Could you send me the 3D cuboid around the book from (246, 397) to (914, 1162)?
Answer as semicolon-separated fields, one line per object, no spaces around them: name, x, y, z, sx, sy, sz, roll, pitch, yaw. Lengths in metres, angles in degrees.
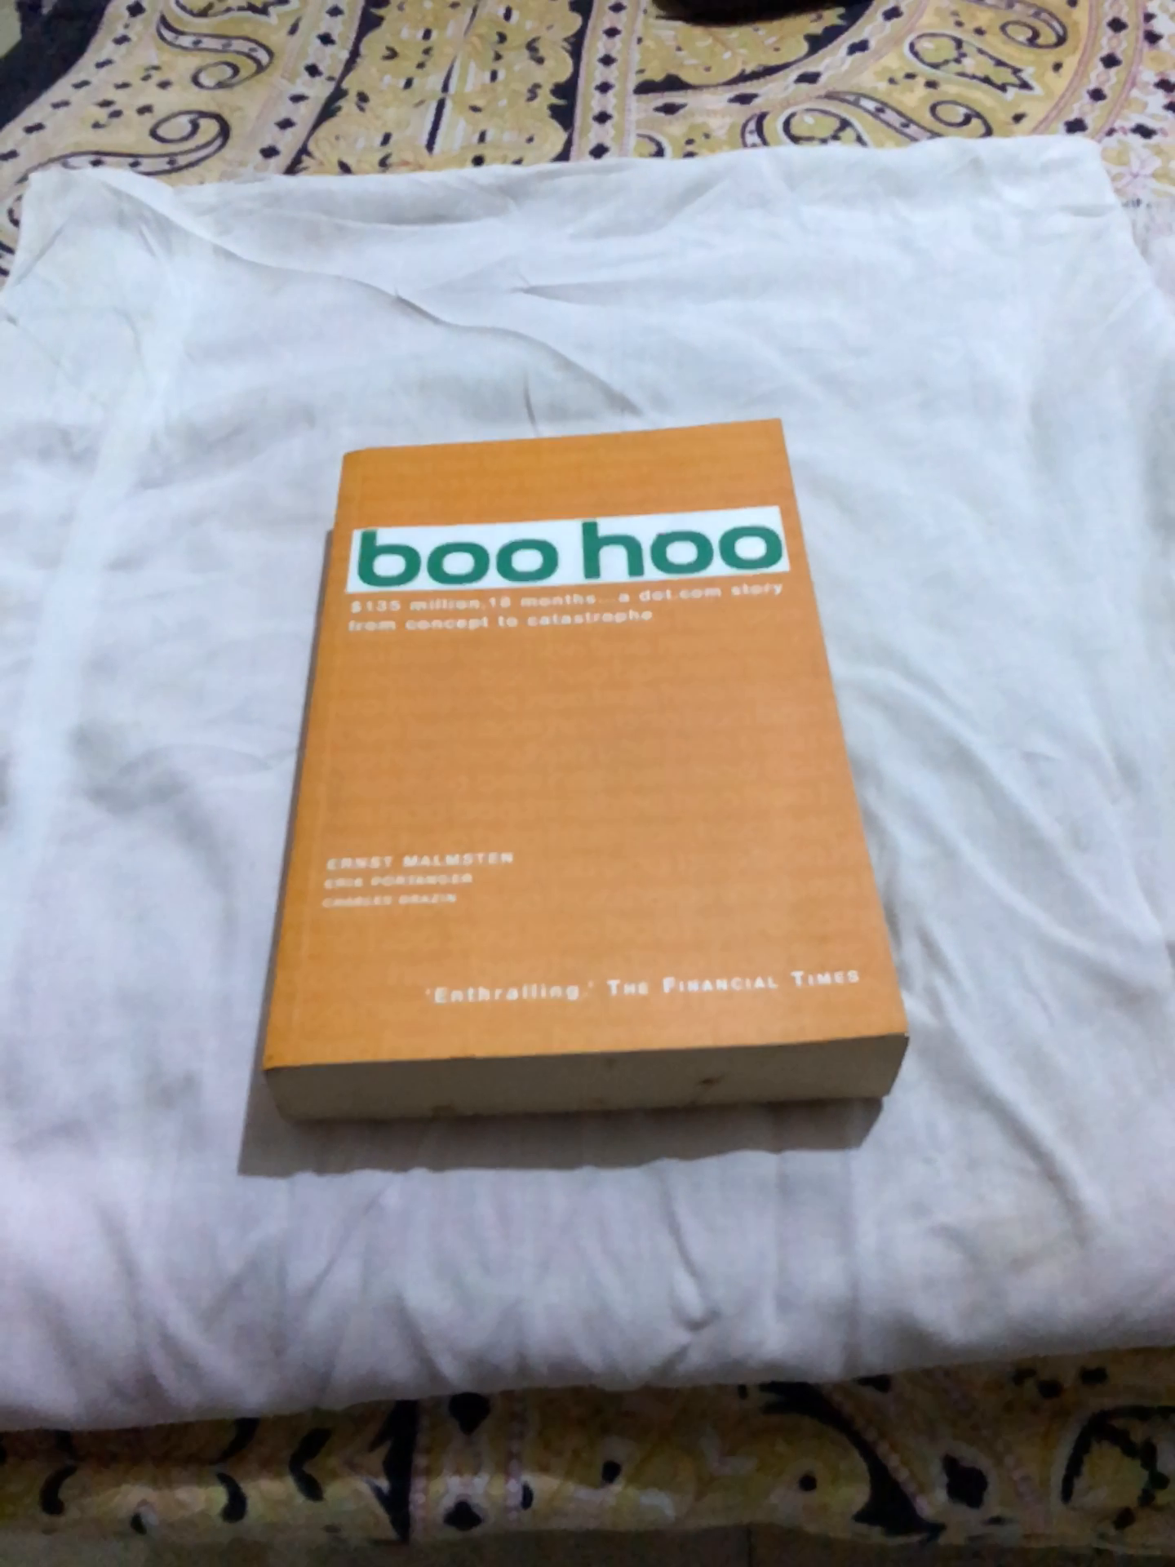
book;-0.005;-0.014;0.329;0.130;0.040;0.201;-5;52;3
